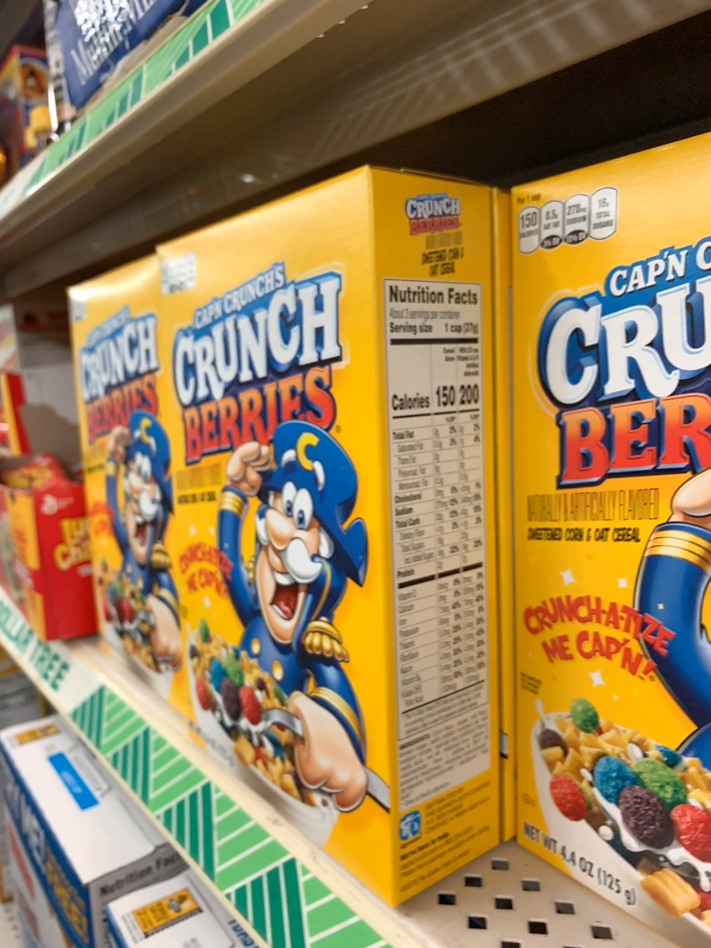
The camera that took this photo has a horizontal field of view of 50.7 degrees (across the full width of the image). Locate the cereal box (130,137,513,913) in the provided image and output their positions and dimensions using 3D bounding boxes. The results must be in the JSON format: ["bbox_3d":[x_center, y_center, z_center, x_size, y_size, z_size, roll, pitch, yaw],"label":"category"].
[{"bbox_3d":[-0.020,0.010,0.265,0.050,0.200,0.150,-7,9,-37],"label":"cereal box"}]
